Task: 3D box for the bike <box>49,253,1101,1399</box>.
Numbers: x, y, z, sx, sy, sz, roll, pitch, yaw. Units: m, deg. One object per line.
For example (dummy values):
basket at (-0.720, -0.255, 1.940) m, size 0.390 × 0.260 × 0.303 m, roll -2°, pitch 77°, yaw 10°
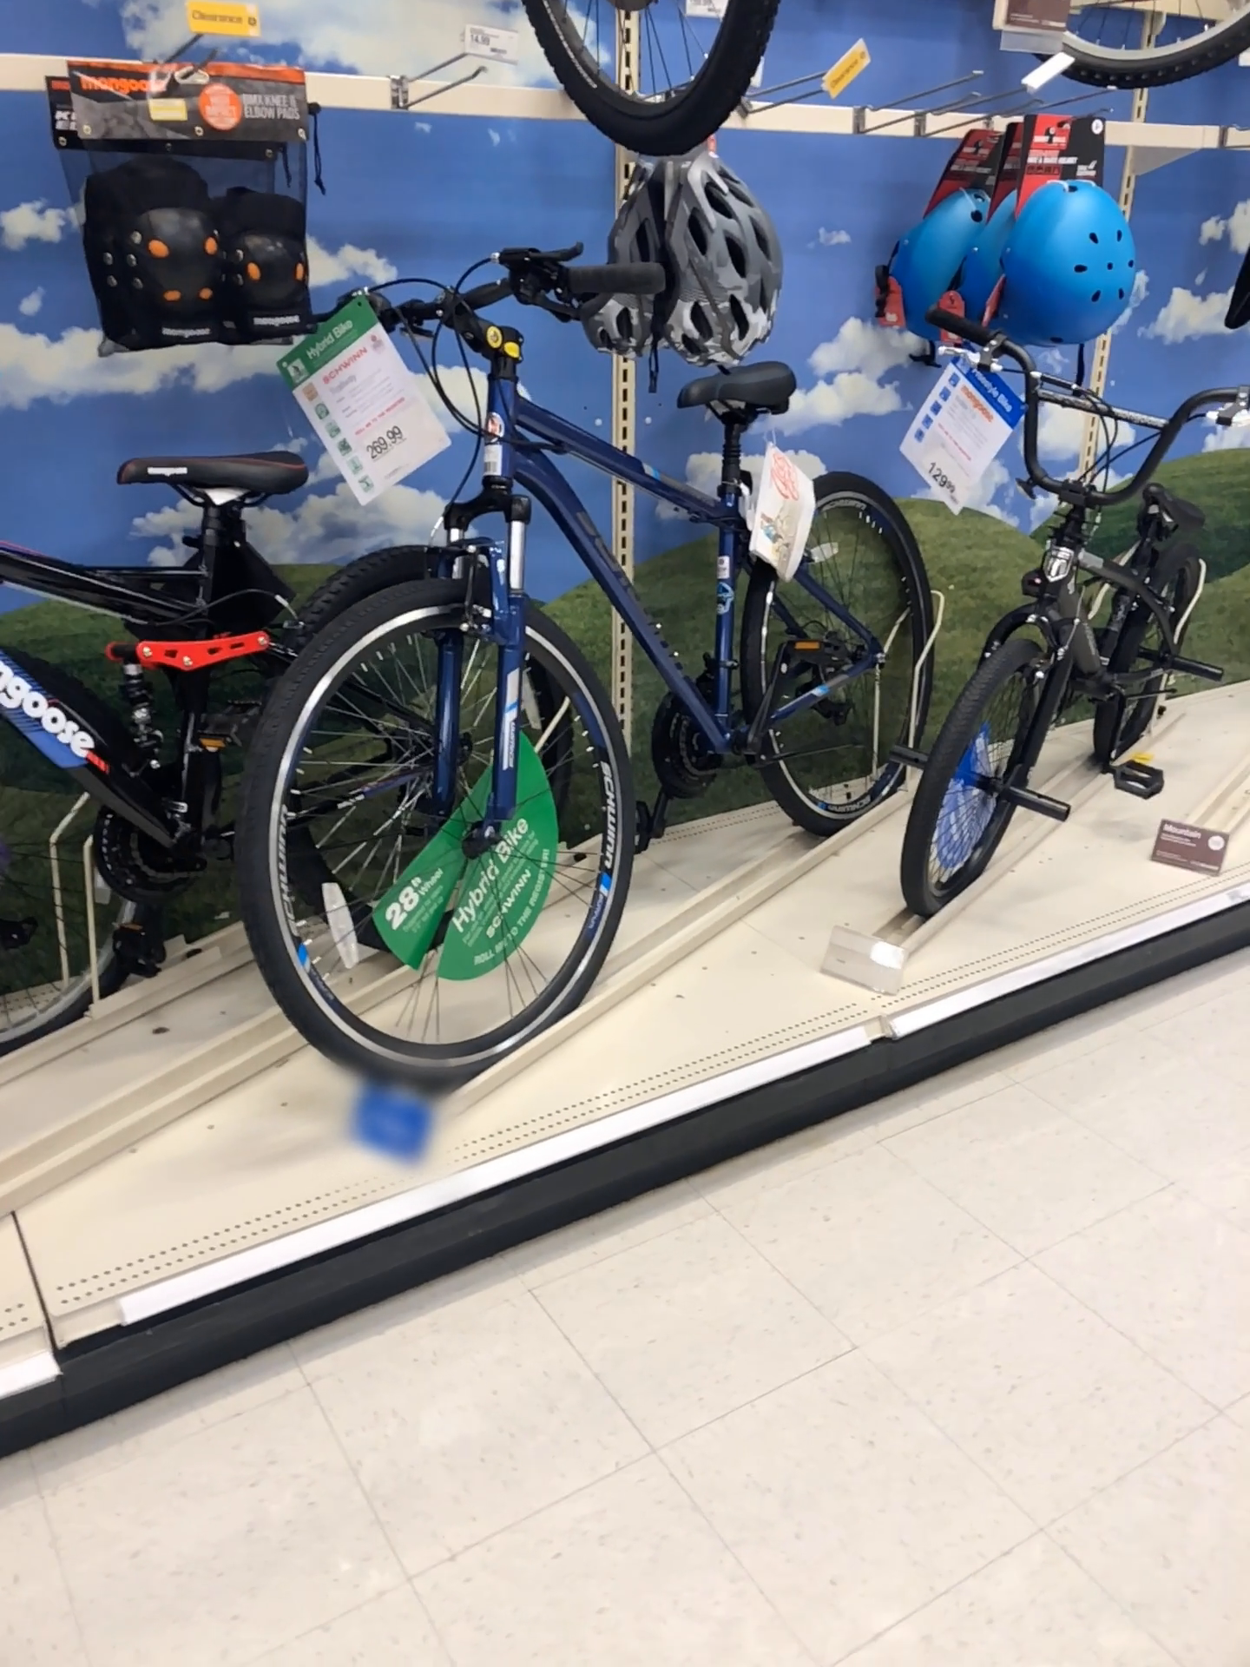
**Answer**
bike at (0.110, -0.248, 2.128) m, size 0.530 × 1.098 × 1.743 m, roll 17°, pitch 31°, yaw 33°
